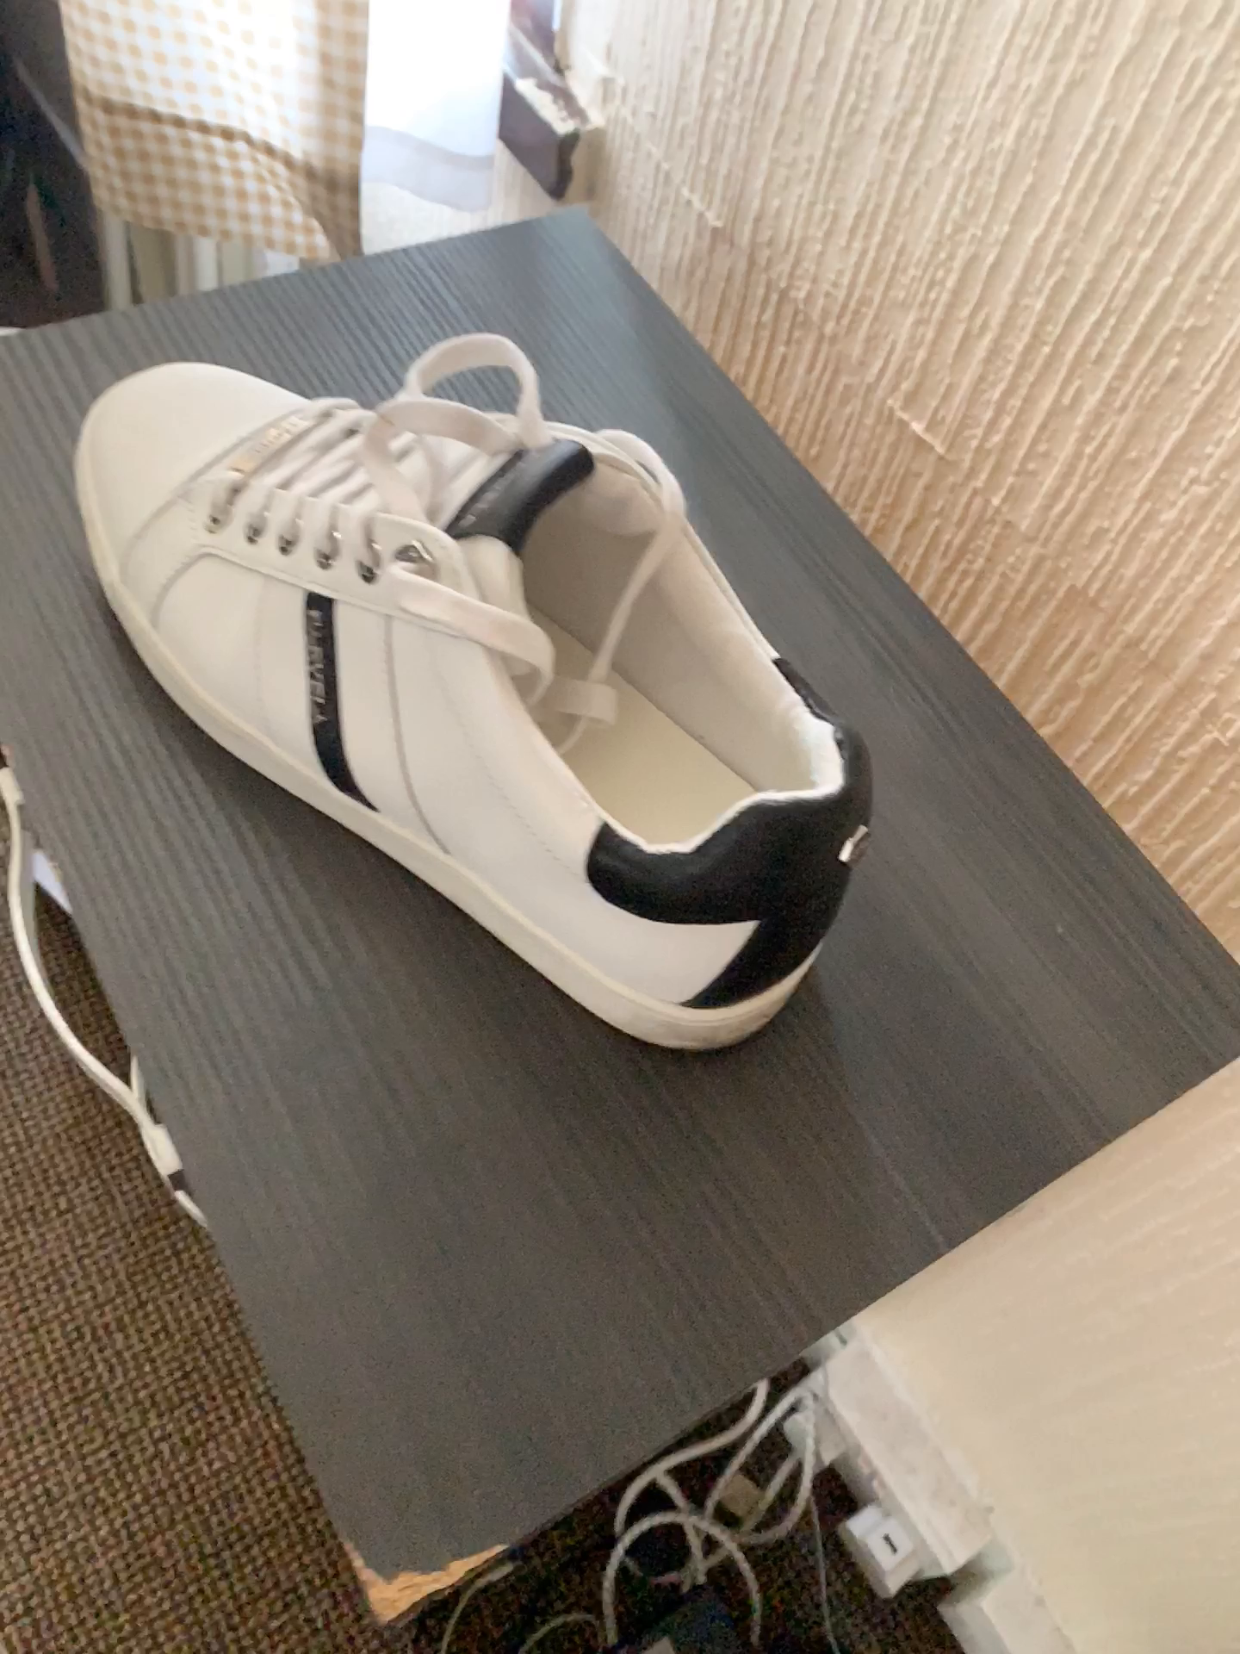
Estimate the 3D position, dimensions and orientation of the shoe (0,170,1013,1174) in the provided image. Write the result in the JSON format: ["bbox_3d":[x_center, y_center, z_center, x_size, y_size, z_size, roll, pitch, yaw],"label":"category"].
[{"bbox_3d":[-0.051,-0.048,0.328,0.260,0.087,0.104,37,59,14],"label":"shoe"}]
